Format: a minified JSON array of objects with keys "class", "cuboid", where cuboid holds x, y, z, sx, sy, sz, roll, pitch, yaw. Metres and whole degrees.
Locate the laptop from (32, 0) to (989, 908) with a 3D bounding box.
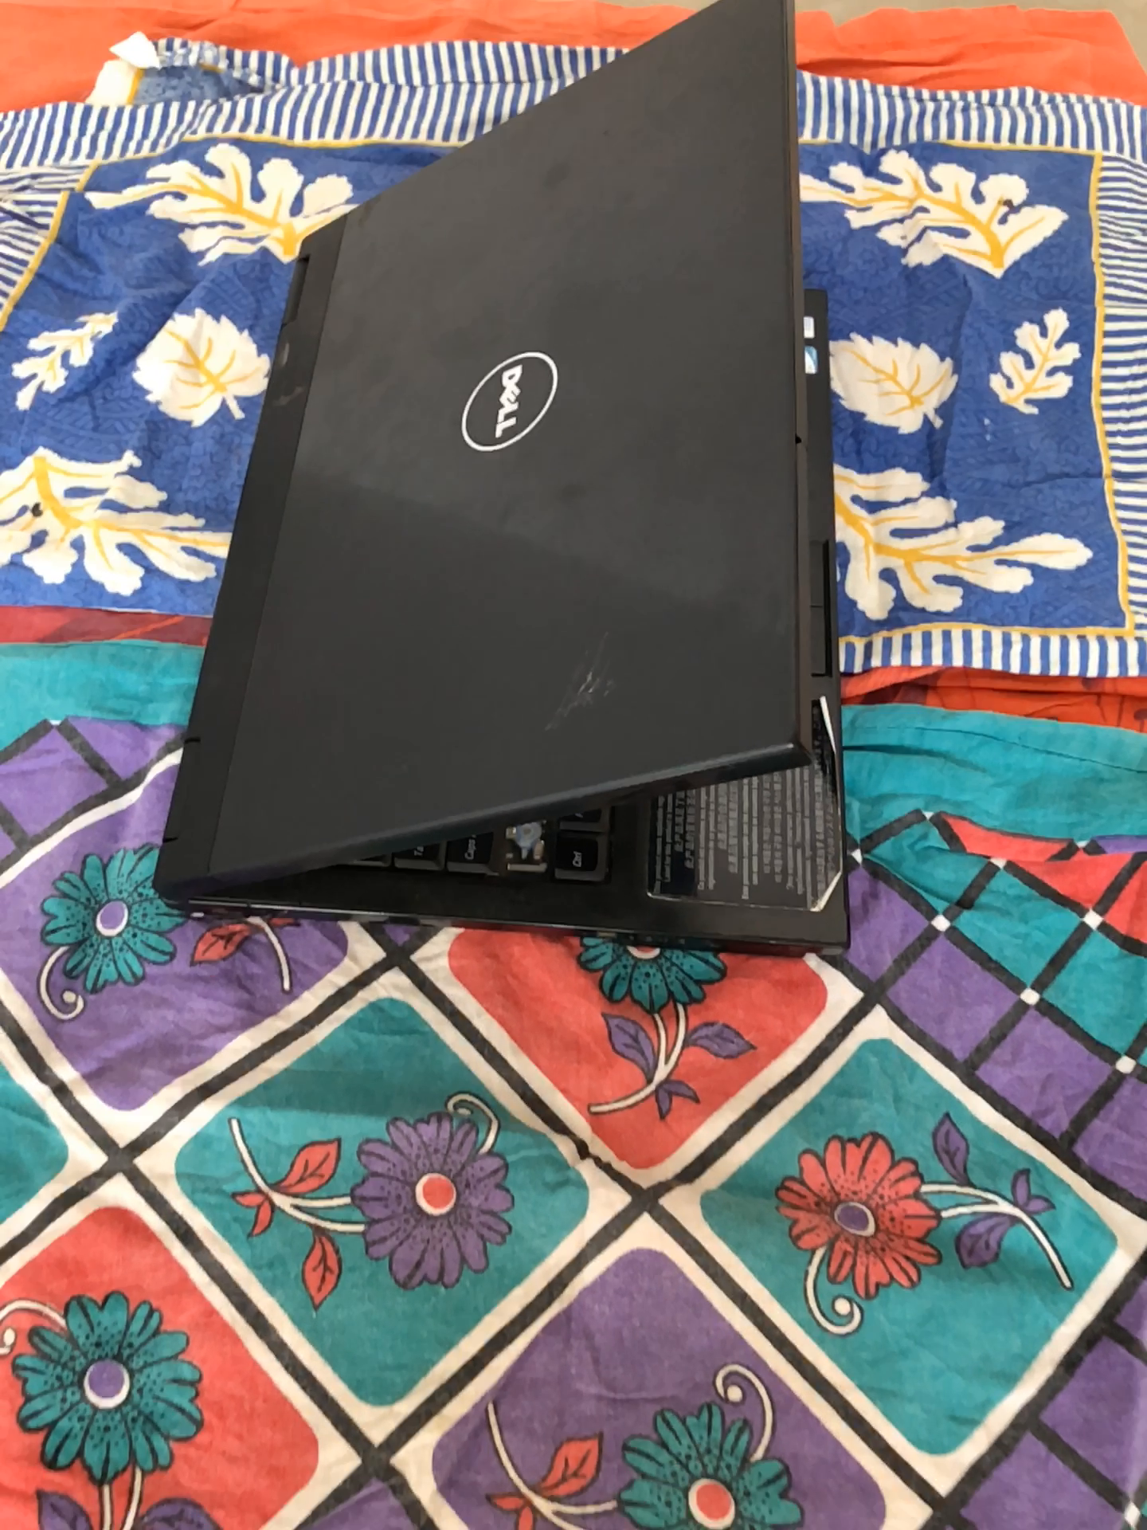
[{"class":"laptop","cuboid":[-0.009,-0.119,0.441,0.234,0.143,0.300,2,63,2]}]
